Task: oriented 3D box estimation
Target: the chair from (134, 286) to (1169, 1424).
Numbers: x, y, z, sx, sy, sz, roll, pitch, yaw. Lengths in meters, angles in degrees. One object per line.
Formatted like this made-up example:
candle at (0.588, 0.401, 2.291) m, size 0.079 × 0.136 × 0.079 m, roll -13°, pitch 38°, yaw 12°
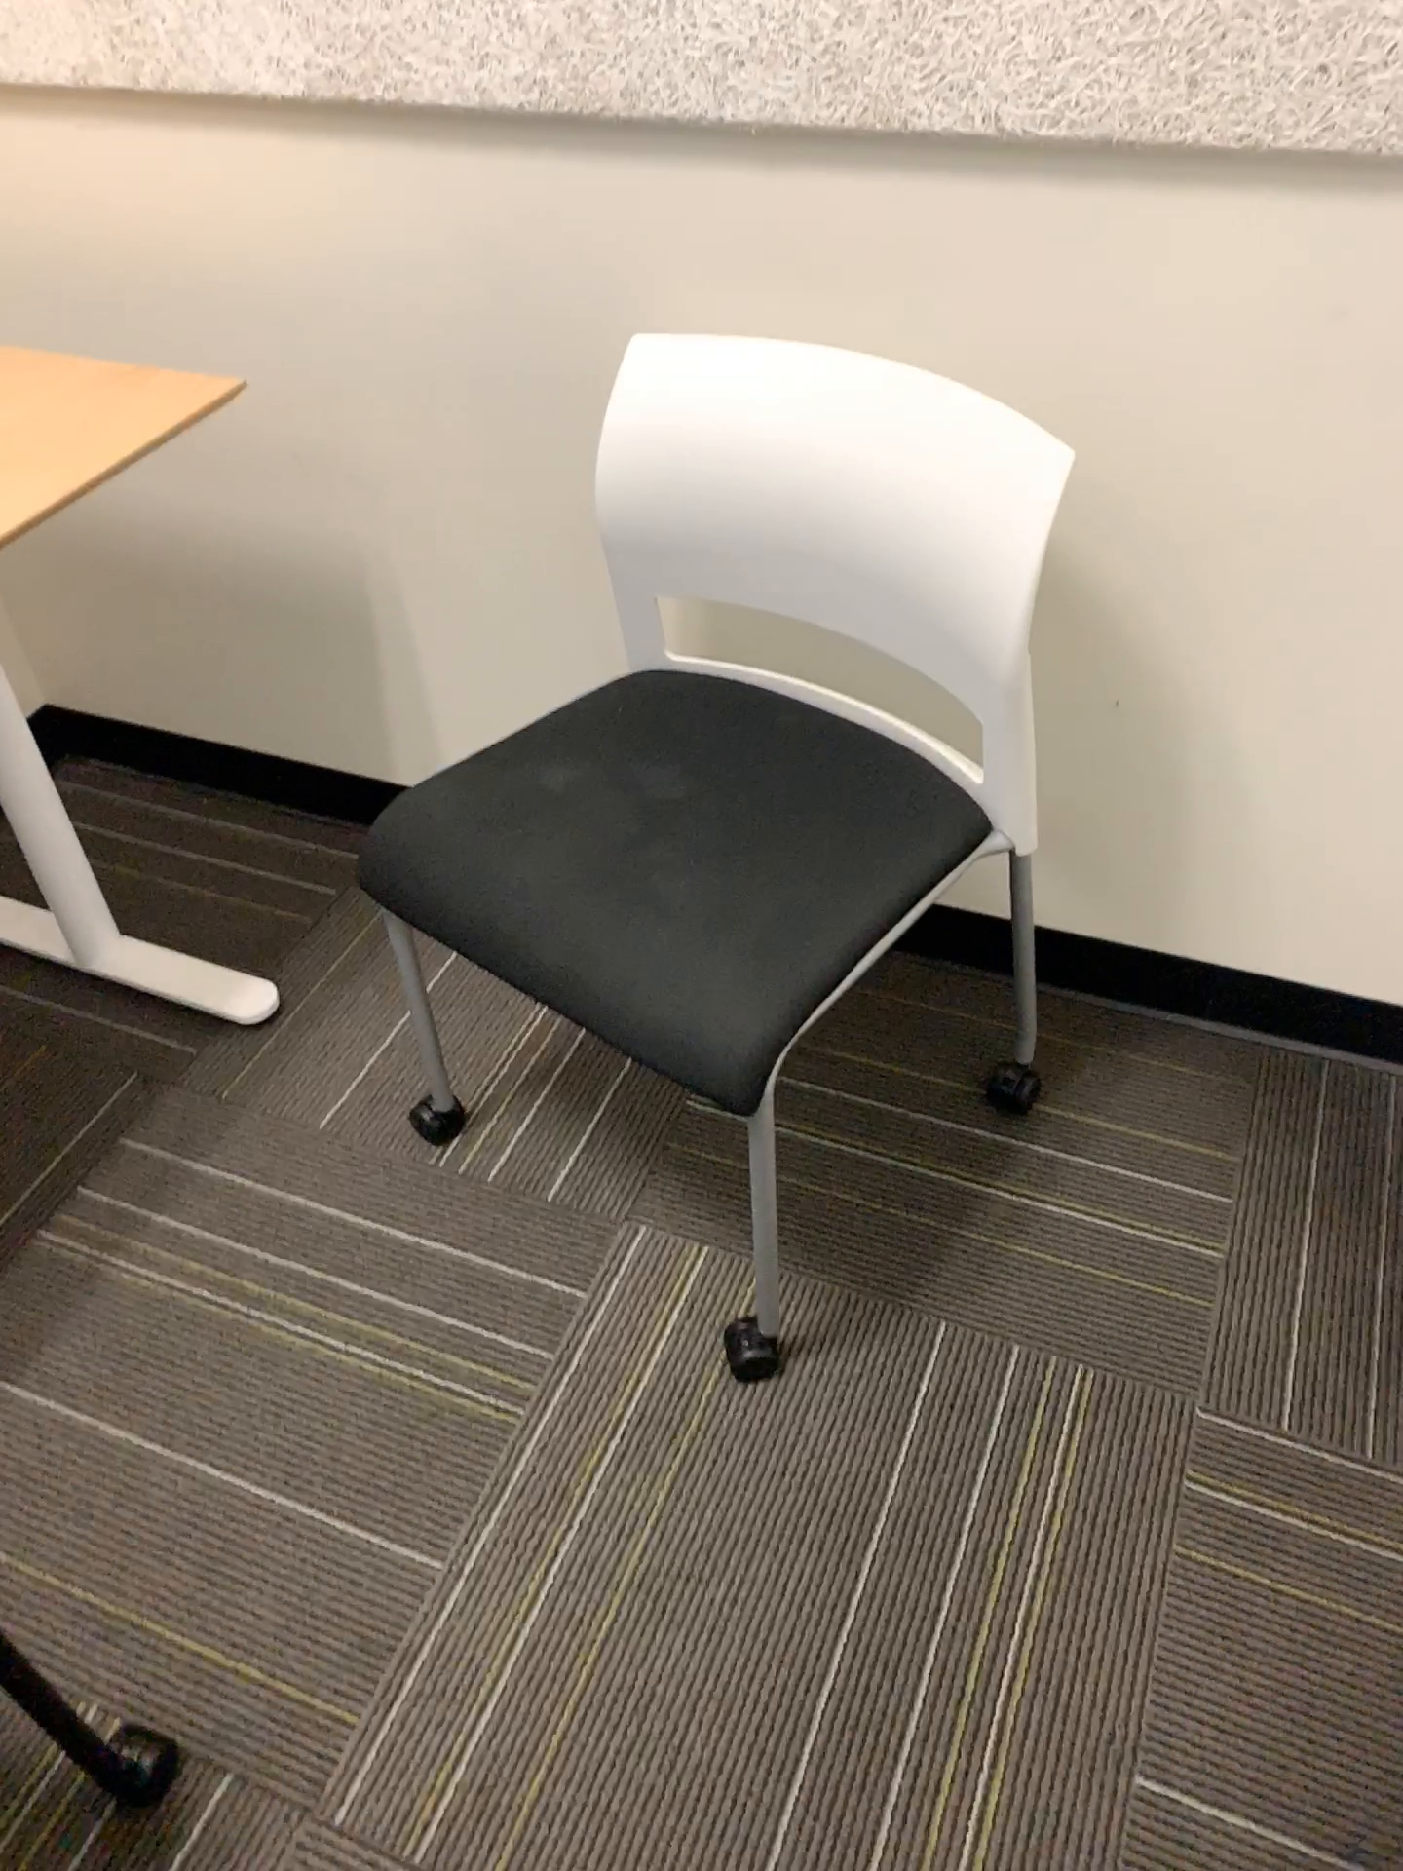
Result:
chair at (-0.016, -0.092, 1.343) m, size 0.582 × 0.736 × 0.541 m, roll 28°, pitch 52°, yaw 30°
